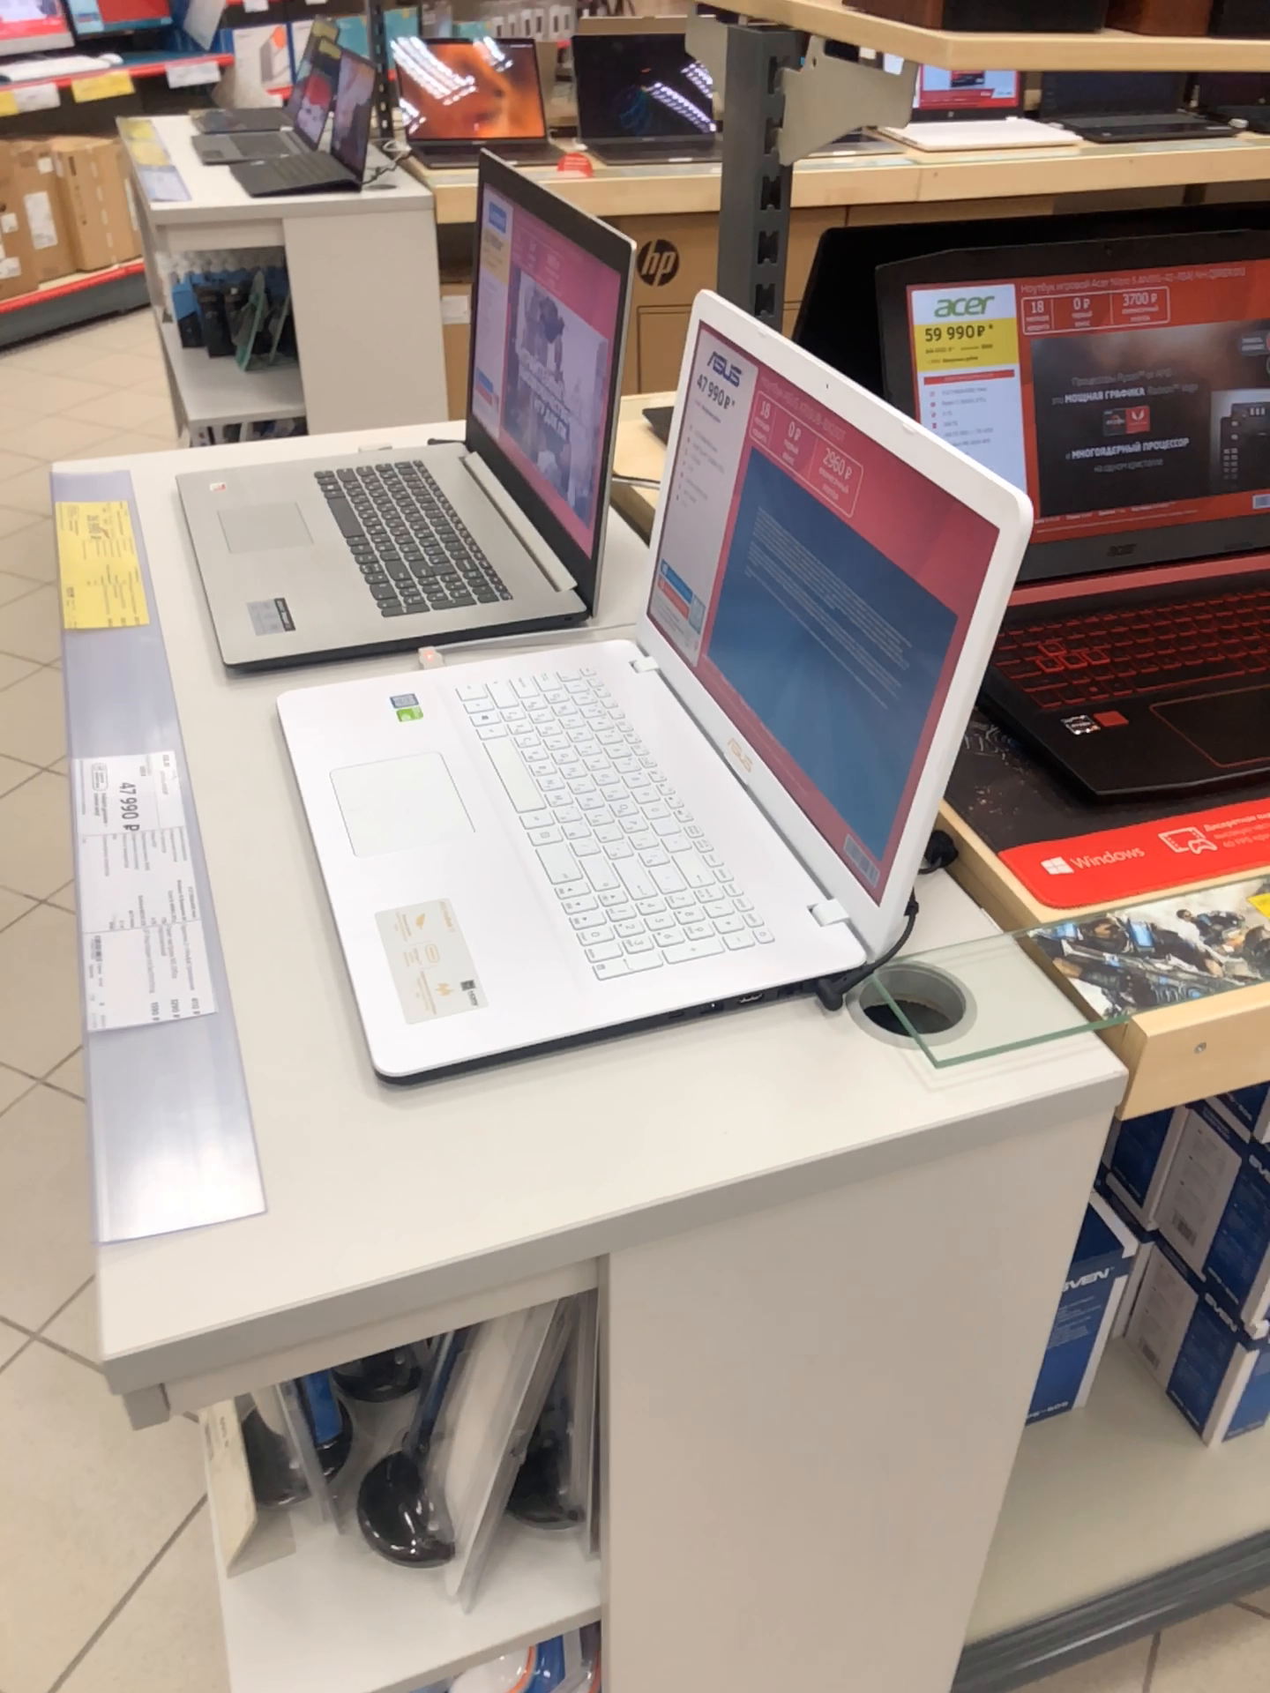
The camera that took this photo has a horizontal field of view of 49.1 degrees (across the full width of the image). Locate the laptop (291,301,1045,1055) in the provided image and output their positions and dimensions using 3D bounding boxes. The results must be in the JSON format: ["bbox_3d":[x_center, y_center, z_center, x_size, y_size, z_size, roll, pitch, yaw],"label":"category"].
[{"bbox_3d":[-0.017,-0.132,0.800,0.300,0.235,0.388,-11,35,-14],"label":"laptop"}]
